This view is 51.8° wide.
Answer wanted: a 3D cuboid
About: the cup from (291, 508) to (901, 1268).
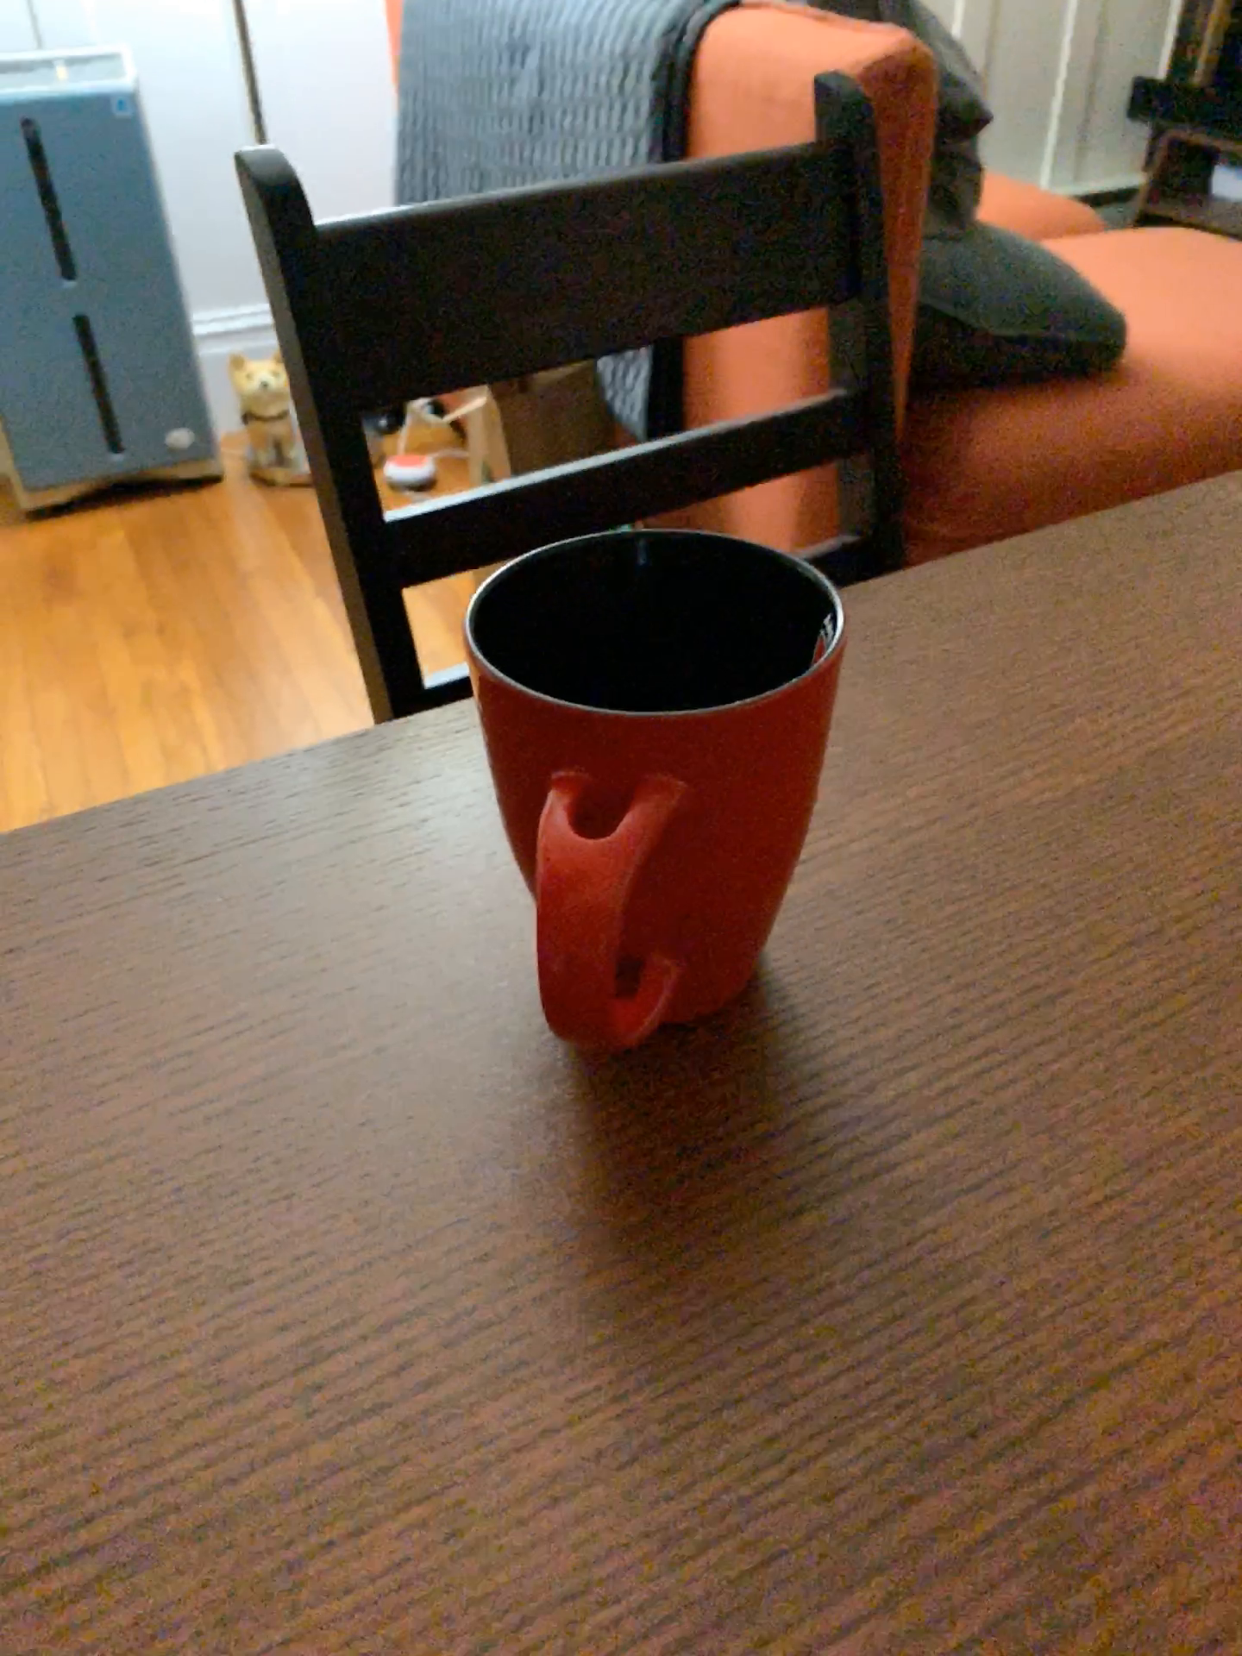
[{"bbox_3d":[0.005,0.005,0.291,0.090,0.099,0.131,9,39,14],"label":"cup"}]
